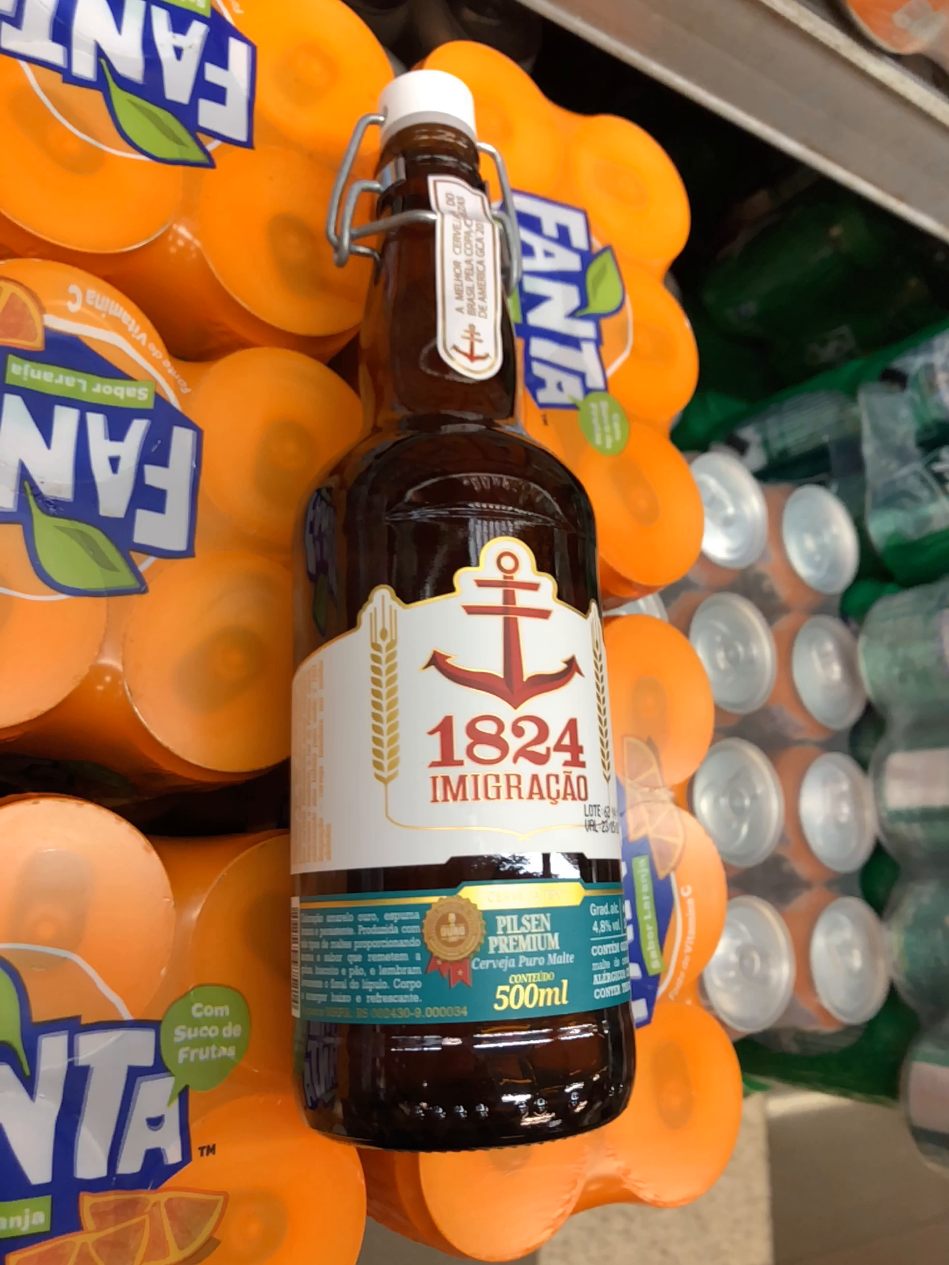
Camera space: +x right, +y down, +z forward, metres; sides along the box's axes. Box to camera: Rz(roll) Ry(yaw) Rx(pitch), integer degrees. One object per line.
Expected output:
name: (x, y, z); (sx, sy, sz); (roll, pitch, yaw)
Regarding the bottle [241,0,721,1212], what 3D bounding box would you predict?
bottle: (-0.001, -0.024, 0.233); (0.080, 0.050, 0.250); (6, 76, -33)
